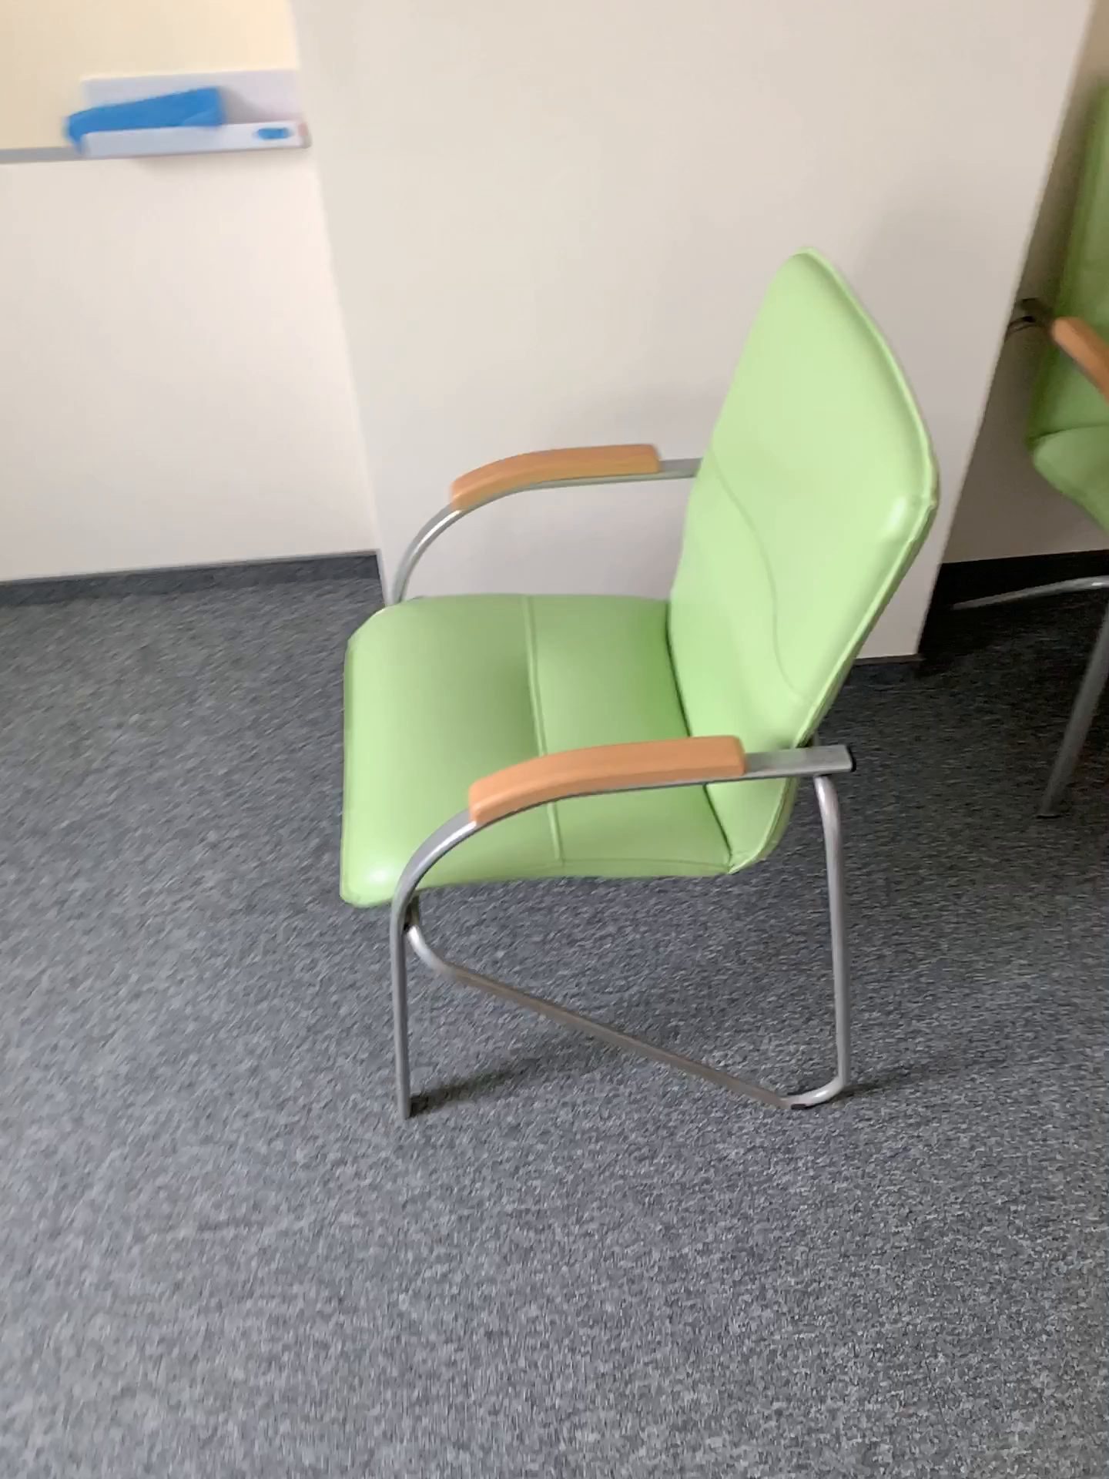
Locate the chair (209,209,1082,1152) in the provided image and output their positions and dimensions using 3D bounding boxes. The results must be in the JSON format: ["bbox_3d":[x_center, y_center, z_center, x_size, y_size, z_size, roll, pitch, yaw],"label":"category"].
[{"bbox_3d":[0.051,-0.034,1.328,0.620,0.876,0.623,-4,46,-3],"label":"chair"}]
